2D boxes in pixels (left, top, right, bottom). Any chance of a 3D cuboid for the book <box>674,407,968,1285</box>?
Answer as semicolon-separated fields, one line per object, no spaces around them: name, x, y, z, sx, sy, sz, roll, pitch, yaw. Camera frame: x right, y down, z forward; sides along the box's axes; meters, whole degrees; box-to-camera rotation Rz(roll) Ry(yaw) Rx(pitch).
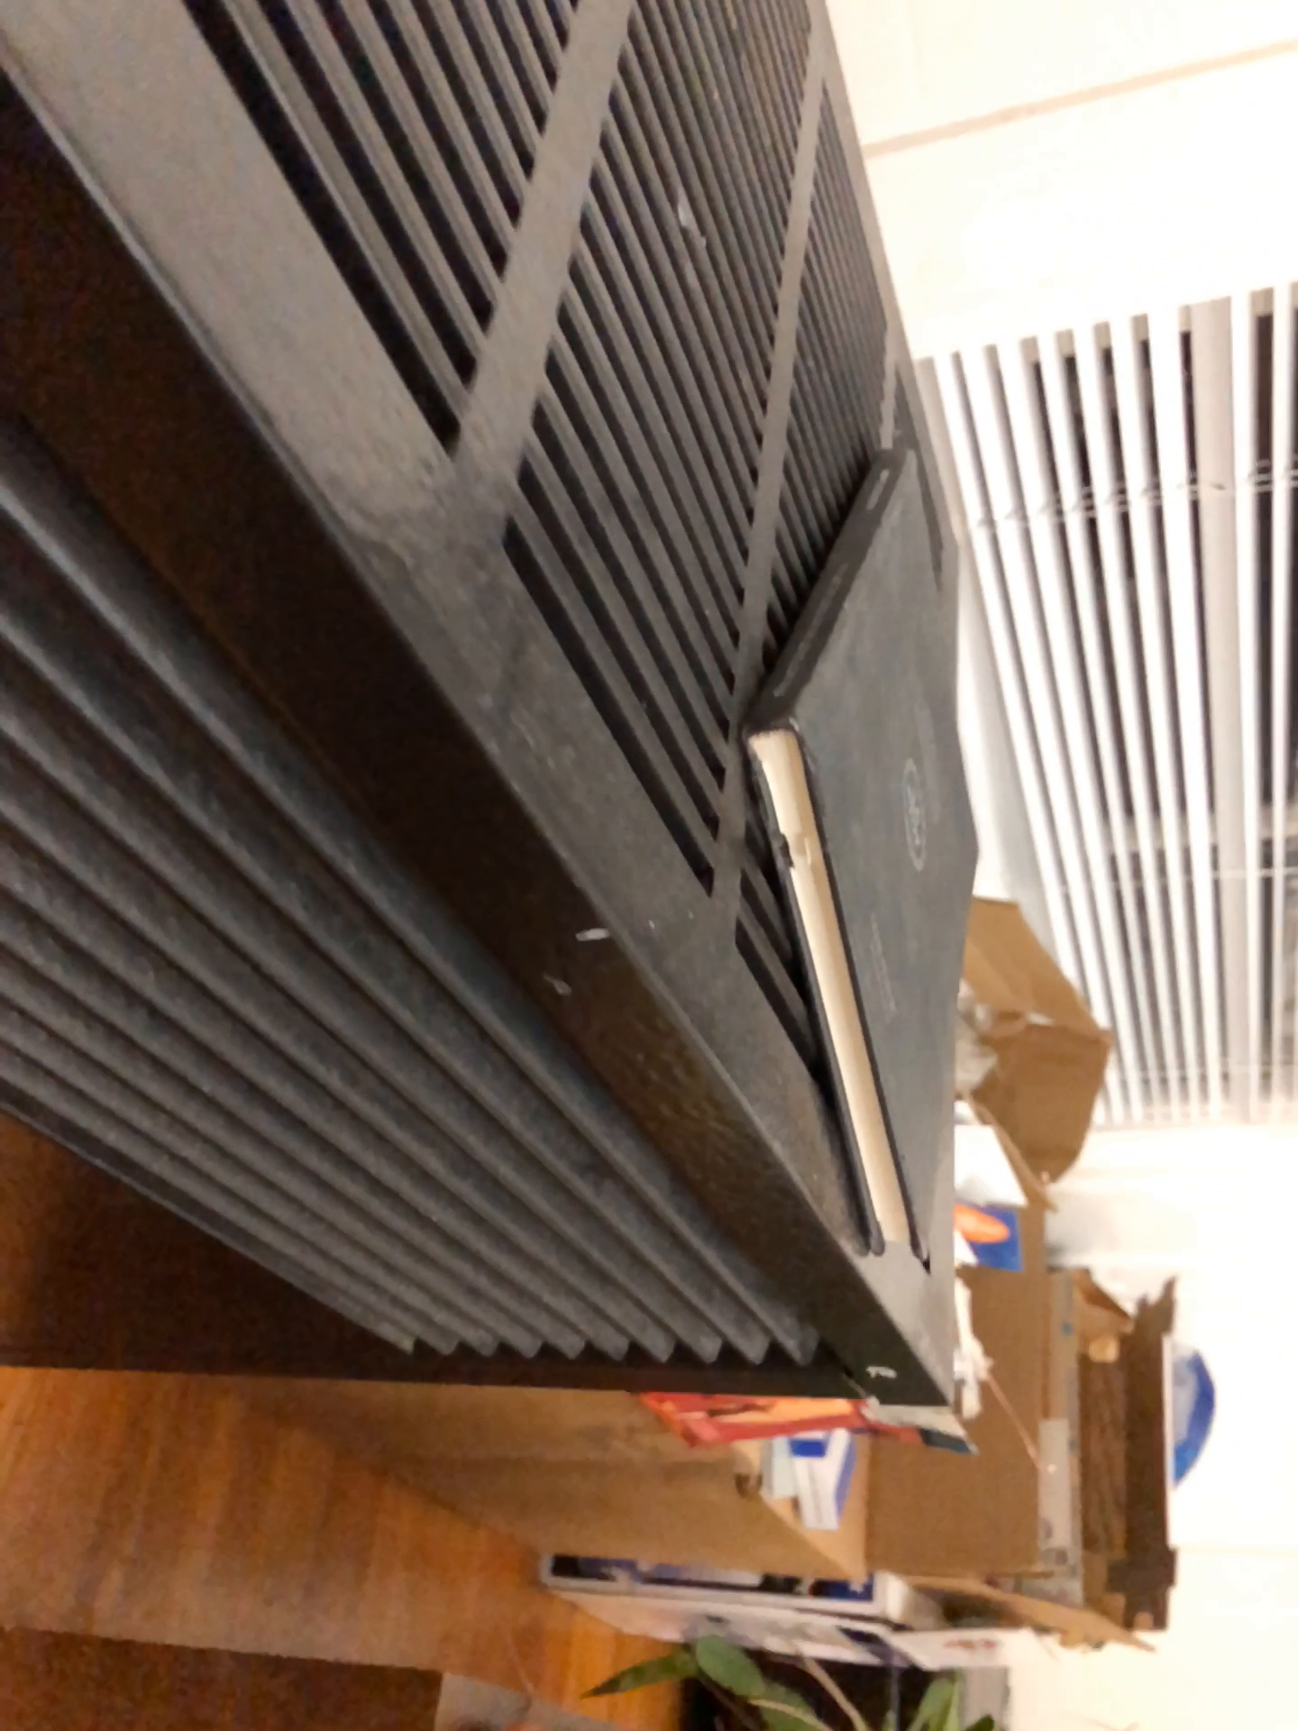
book;0.066;-0.025;0.435;0.251;0.020;0.160;-64;143;-56
